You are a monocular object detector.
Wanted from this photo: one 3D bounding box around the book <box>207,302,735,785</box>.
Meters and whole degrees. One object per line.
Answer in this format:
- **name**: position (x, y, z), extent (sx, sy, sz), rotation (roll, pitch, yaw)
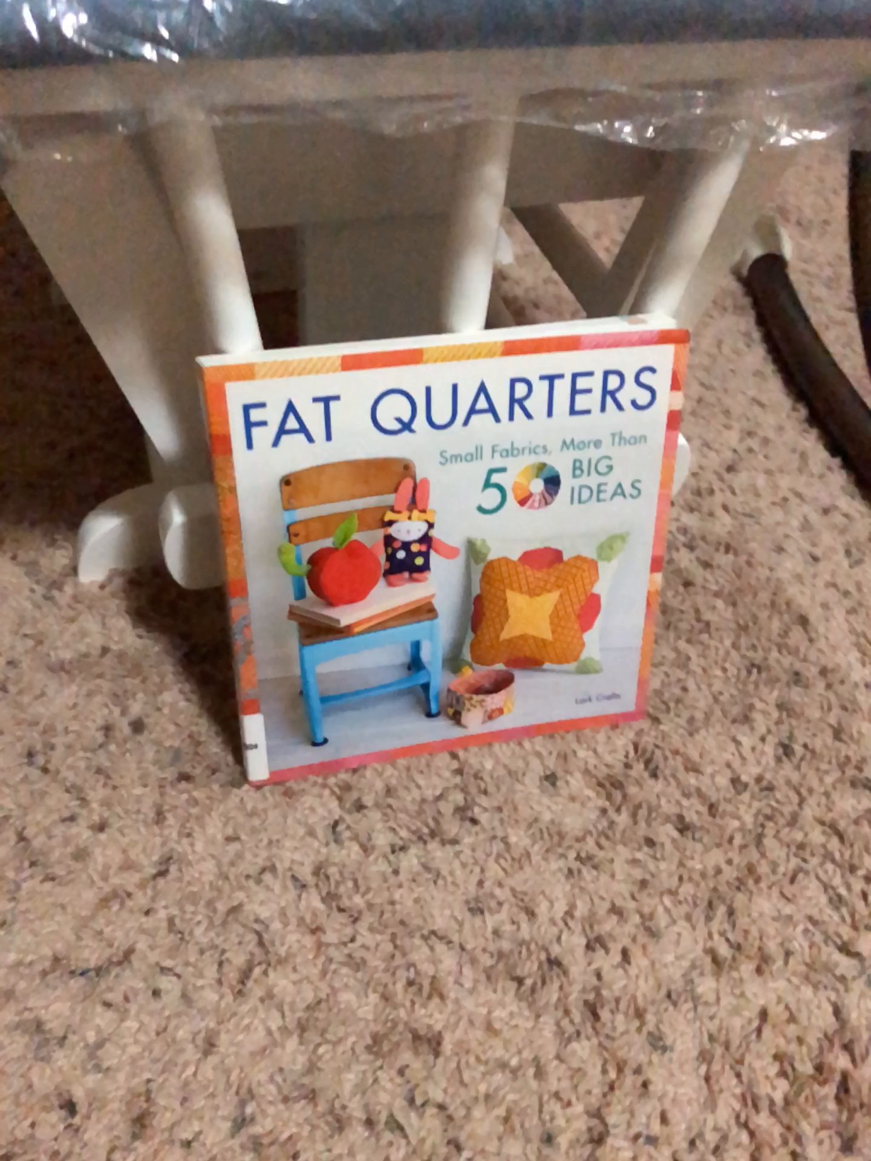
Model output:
- **book**: position (0.018, -0.014, 0.424), extent (0.207, 0.193, 0.030), rotation (-8, 28, -12)
